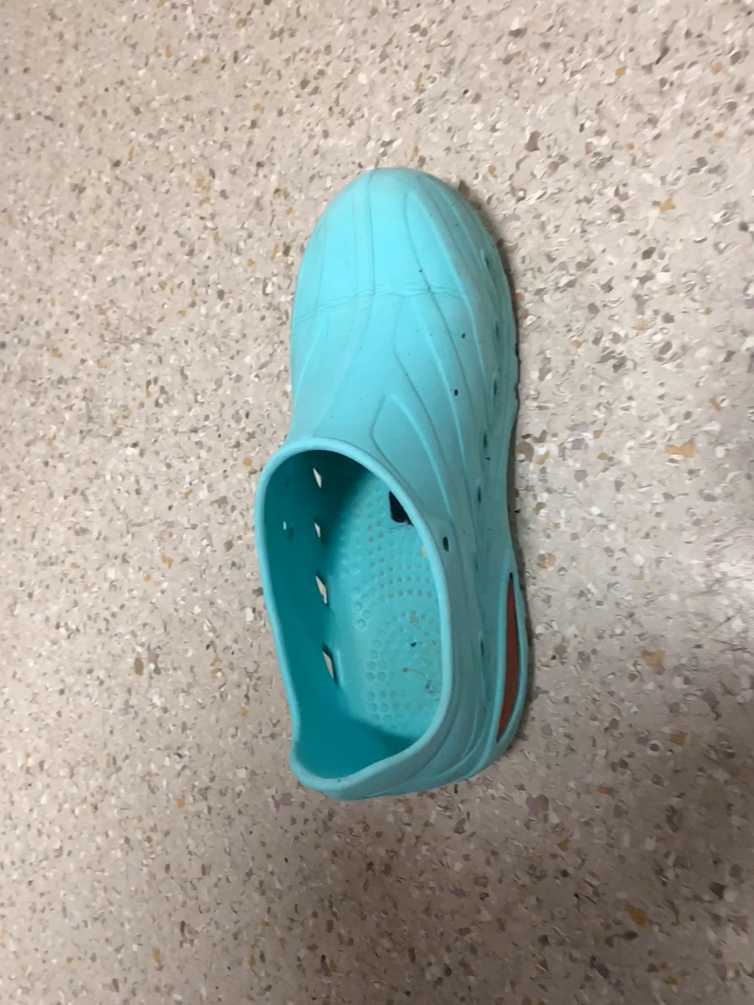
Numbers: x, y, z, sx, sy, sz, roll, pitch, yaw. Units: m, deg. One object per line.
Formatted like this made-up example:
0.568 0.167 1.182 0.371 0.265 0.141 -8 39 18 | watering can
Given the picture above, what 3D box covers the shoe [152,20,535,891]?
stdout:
-0.013 -0.015 0.316 0.106 0.105 0.275 -5 85 33 | shoe
